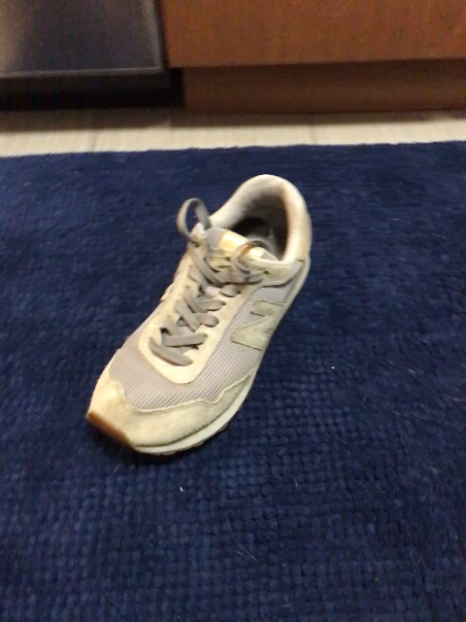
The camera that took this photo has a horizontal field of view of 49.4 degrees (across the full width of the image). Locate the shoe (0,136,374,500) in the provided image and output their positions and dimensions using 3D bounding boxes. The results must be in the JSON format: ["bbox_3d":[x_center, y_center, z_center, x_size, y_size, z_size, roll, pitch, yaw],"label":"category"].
[{"bbox_3d":[-0.016,-0.016,0.417,0.130,0.099,0.282,29,56,22],"label":"shoe"}]
